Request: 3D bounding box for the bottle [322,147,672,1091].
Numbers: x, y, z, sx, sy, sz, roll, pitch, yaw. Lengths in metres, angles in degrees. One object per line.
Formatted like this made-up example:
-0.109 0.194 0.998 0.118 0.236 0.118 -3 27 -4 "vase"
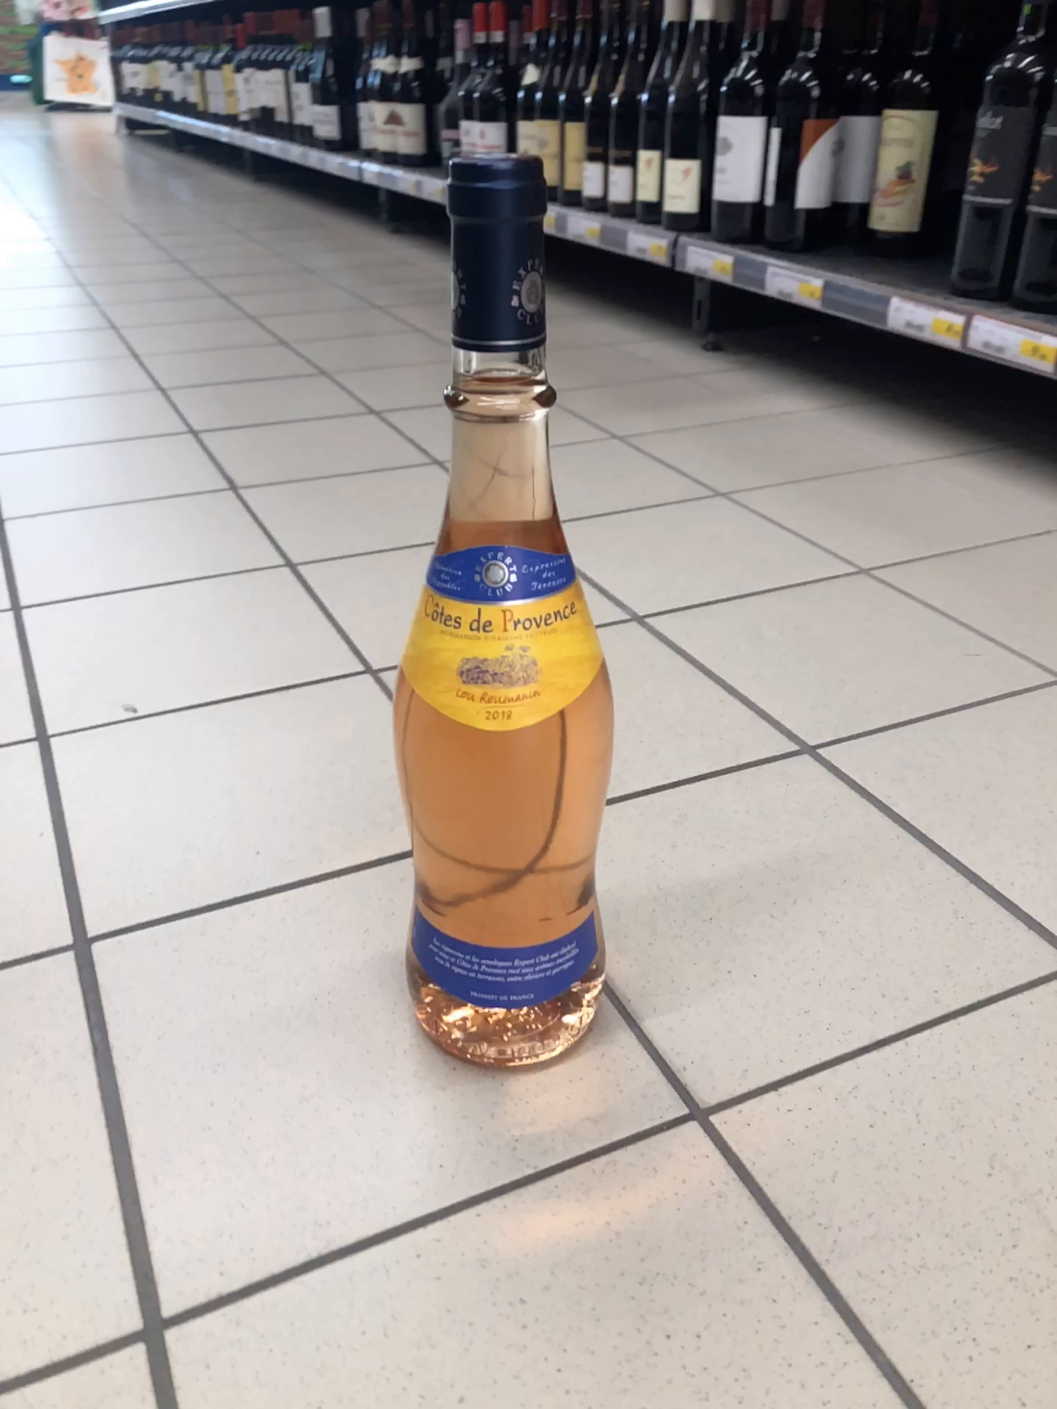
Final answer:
-0.005 -0.016 0.405 0.090 0.318 0.080 3 28 5 "bottle"
